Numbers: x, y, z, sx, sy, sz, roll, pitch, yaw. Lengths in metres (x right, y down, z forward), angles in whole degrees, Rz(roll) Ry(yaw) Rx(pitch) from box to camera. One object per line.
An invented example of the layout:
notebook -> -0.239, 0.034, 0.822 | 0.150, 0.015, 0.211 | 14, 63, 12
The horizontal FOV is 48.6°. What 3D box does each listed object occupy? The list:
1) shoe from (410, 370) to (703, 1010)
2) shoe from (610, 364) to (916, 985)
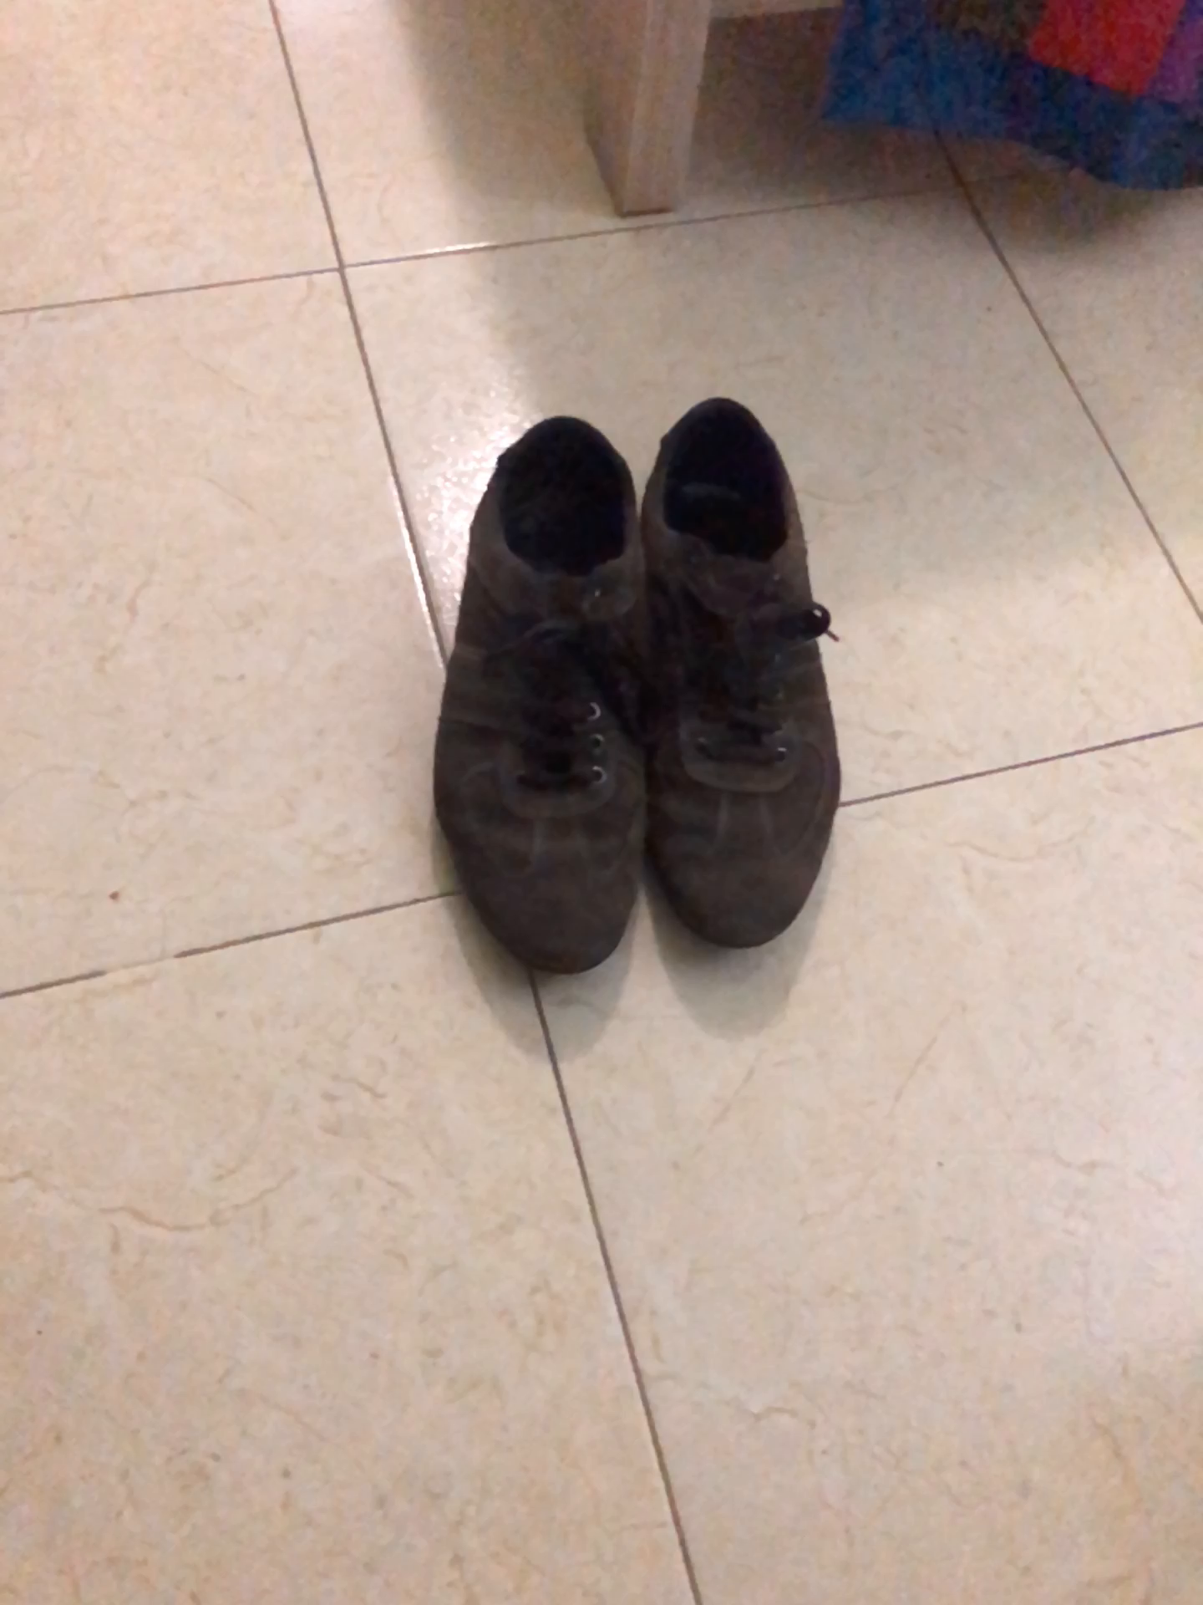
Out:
shoe -> -0.030, -0.061, 0.661 | 0.120, 0.110, 0.300 | -1, 64, -5
shoe -> 0.070, -0.069, 0.679 | 0.110, 0.110, 0.300 | 0, 64, -5
